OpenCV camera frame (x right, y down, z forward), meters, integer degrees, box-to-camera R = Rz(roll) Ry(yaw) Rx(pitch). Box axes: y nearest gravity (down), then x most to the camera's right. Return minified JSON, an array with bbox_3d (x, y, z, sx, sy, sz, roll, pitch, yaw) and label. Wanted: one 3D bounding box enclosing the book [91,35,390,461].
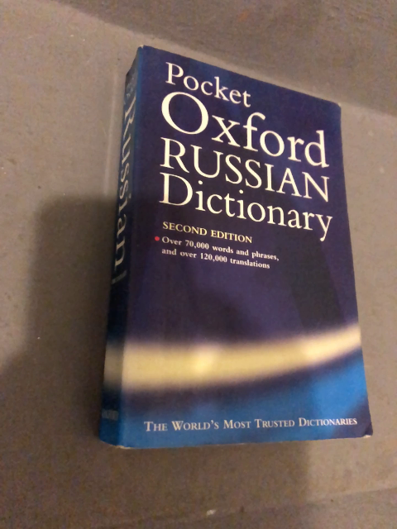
[{"bbox_3d":[0.025,-0.008,0.231,0.138,0.032,0.195,8,72,-21],"label":"book"}]
